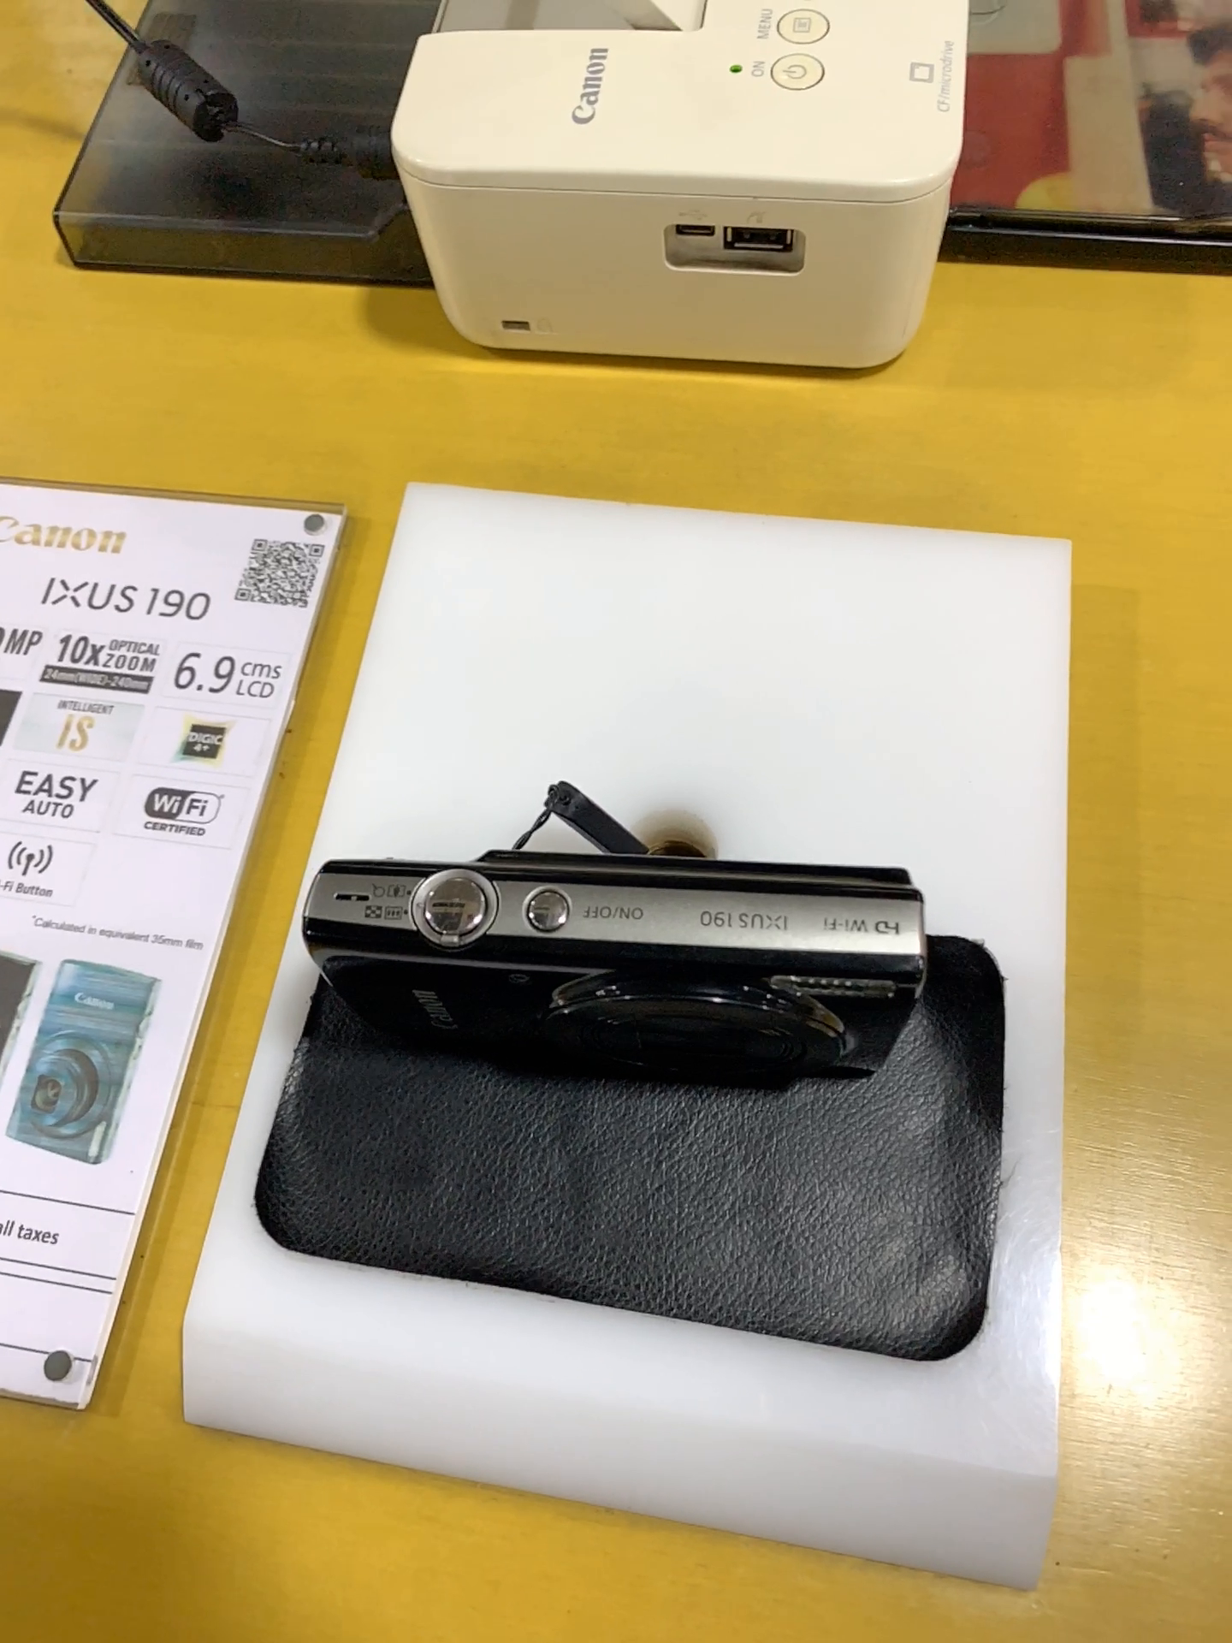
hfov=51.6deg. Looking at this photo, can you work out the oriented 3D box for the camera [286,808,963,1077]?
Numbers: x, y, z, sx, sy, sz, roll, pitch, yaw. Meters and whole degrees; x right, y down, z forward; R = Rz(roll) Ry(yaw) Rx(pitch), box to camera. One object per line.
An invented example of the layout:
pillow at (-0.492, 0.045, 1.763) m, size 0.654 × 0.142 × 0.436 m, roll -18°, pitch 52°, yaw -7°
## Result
camera at (0.003, 0.021, 0.200) m, size 0.090 × 0.060 × 0.020 m, roll 2°, pitch 67°, yaw 6°
